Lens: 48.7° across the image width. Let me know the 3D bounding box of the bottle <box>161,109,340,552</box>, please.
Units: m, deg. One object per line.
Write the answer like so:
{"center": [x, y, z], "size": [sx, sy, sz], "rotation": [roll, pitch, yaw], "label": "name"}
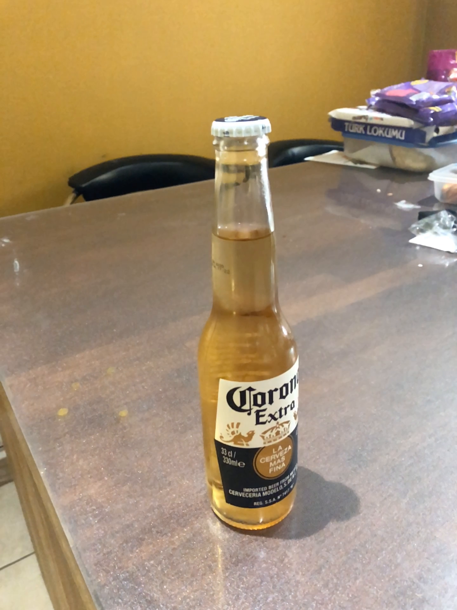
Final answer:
{"center": [0.013, 0.021, 0.286], "size": [0.060, 0.238, 0.060], "rotation": [-2, 26, 1], "label": "bottle"}
